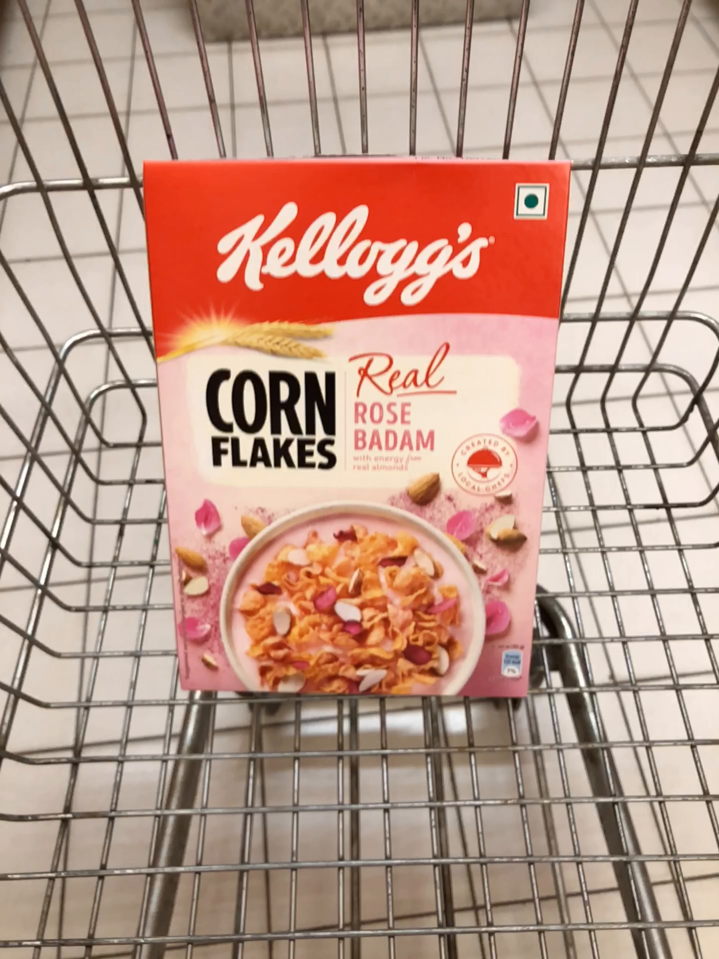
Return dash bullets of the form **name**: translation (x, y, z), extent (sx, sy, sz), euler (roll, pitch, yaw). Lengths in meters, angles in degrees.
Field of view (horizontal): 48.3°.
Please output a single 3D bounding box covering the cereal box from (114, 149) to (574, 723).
- **cereal box**: translation (-0.006, -0.019, 0.392), extent (0.180, 0.259, 0.080), euler (1, 18, 2)
